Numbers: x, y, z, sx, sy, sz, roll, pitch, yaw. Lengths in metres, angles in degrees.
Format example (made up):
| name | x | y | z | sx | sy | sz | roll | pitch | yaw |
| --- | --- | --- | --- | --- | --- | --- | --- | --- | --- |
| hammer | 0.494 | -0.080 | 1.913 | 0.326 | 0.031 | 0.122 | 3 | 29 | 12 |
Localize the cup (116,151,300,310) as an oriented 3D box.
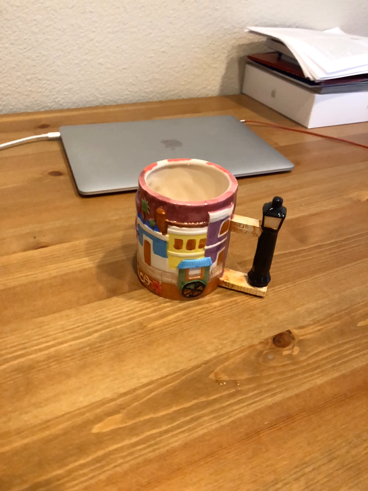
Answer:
| name | x | y | z | sx | sy | sz | roll | pitch | yaw |
| --- | --- | --- | --- | --- | --- | --- | --- | --- | --- |
| cup | 0.018 | -0.016 | 0.352 | 0.130 | 0.090 | 0.090 | 6 | 35 | 3 |
